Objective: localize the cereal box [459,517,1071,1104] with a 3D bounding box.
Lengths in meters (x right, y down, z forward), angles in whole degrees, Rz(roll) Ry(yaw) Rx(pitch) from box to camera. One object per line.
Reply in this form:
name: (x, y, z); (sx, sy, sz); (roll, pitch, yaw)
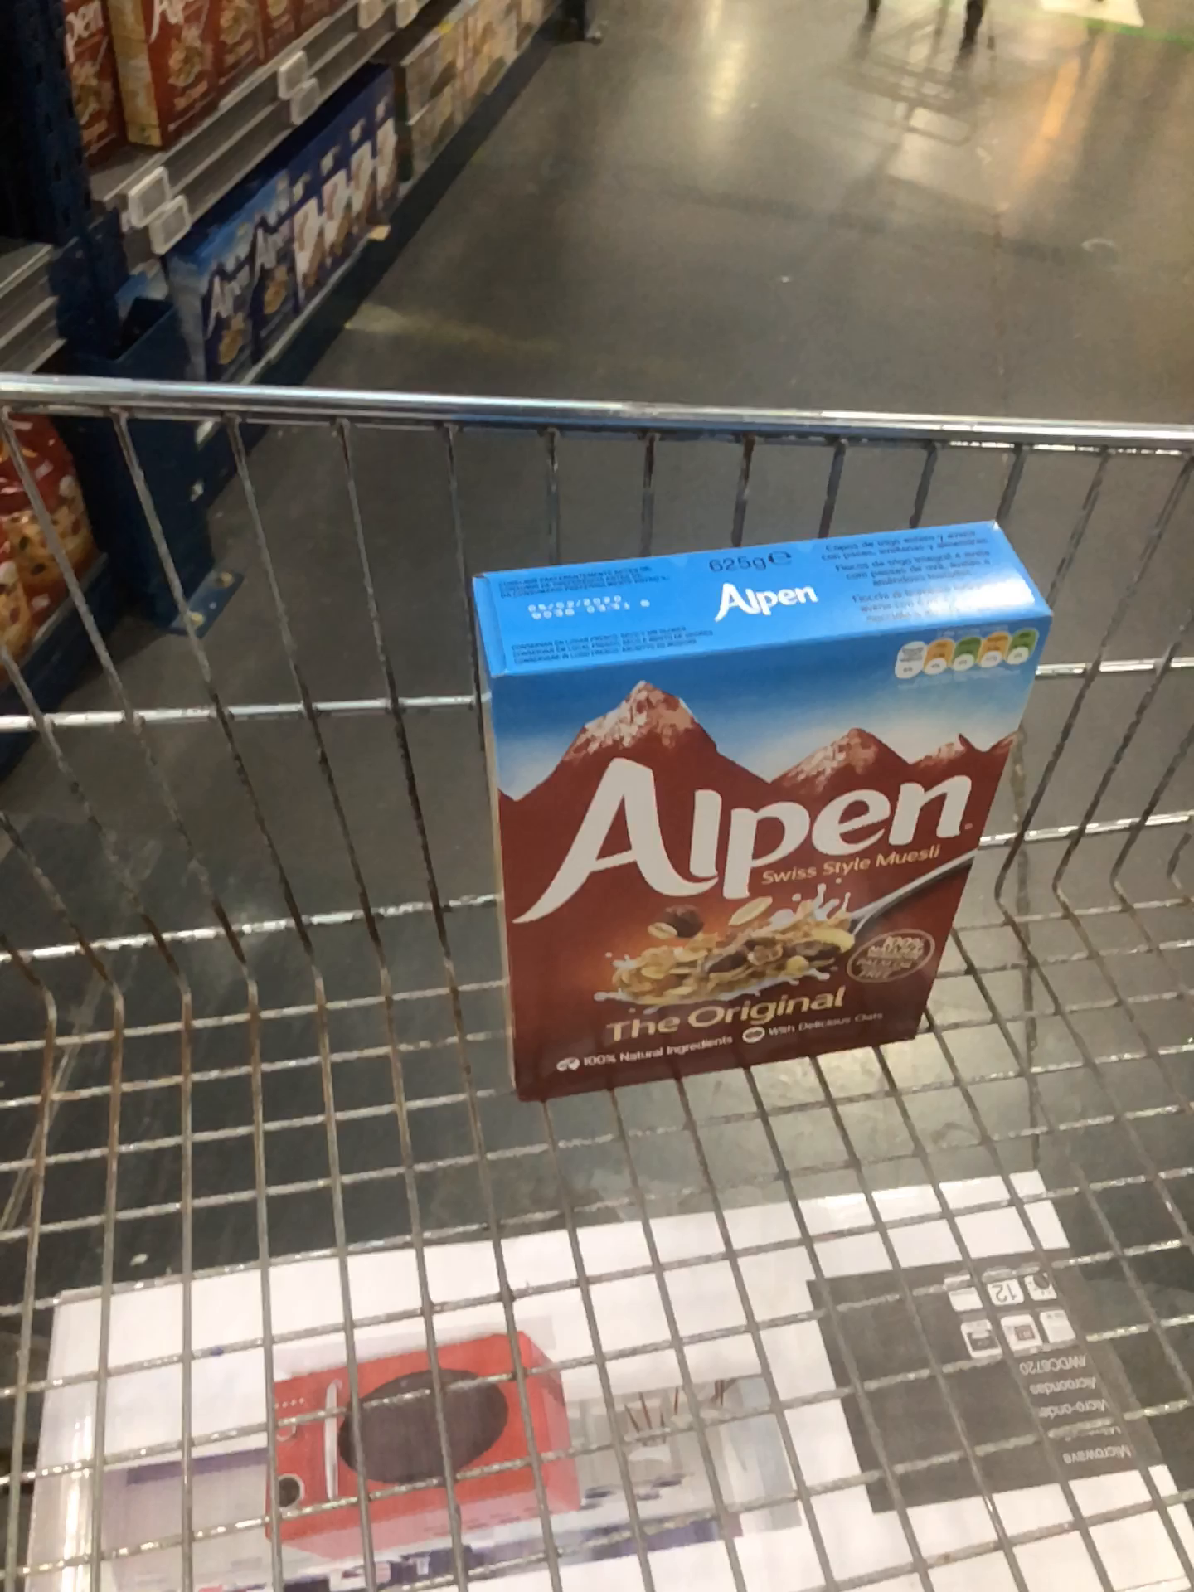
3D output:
cereal box: (0.047, 0.015, 0.488); (0.180, 0.219, 0.060); (-7, 46, -10)
